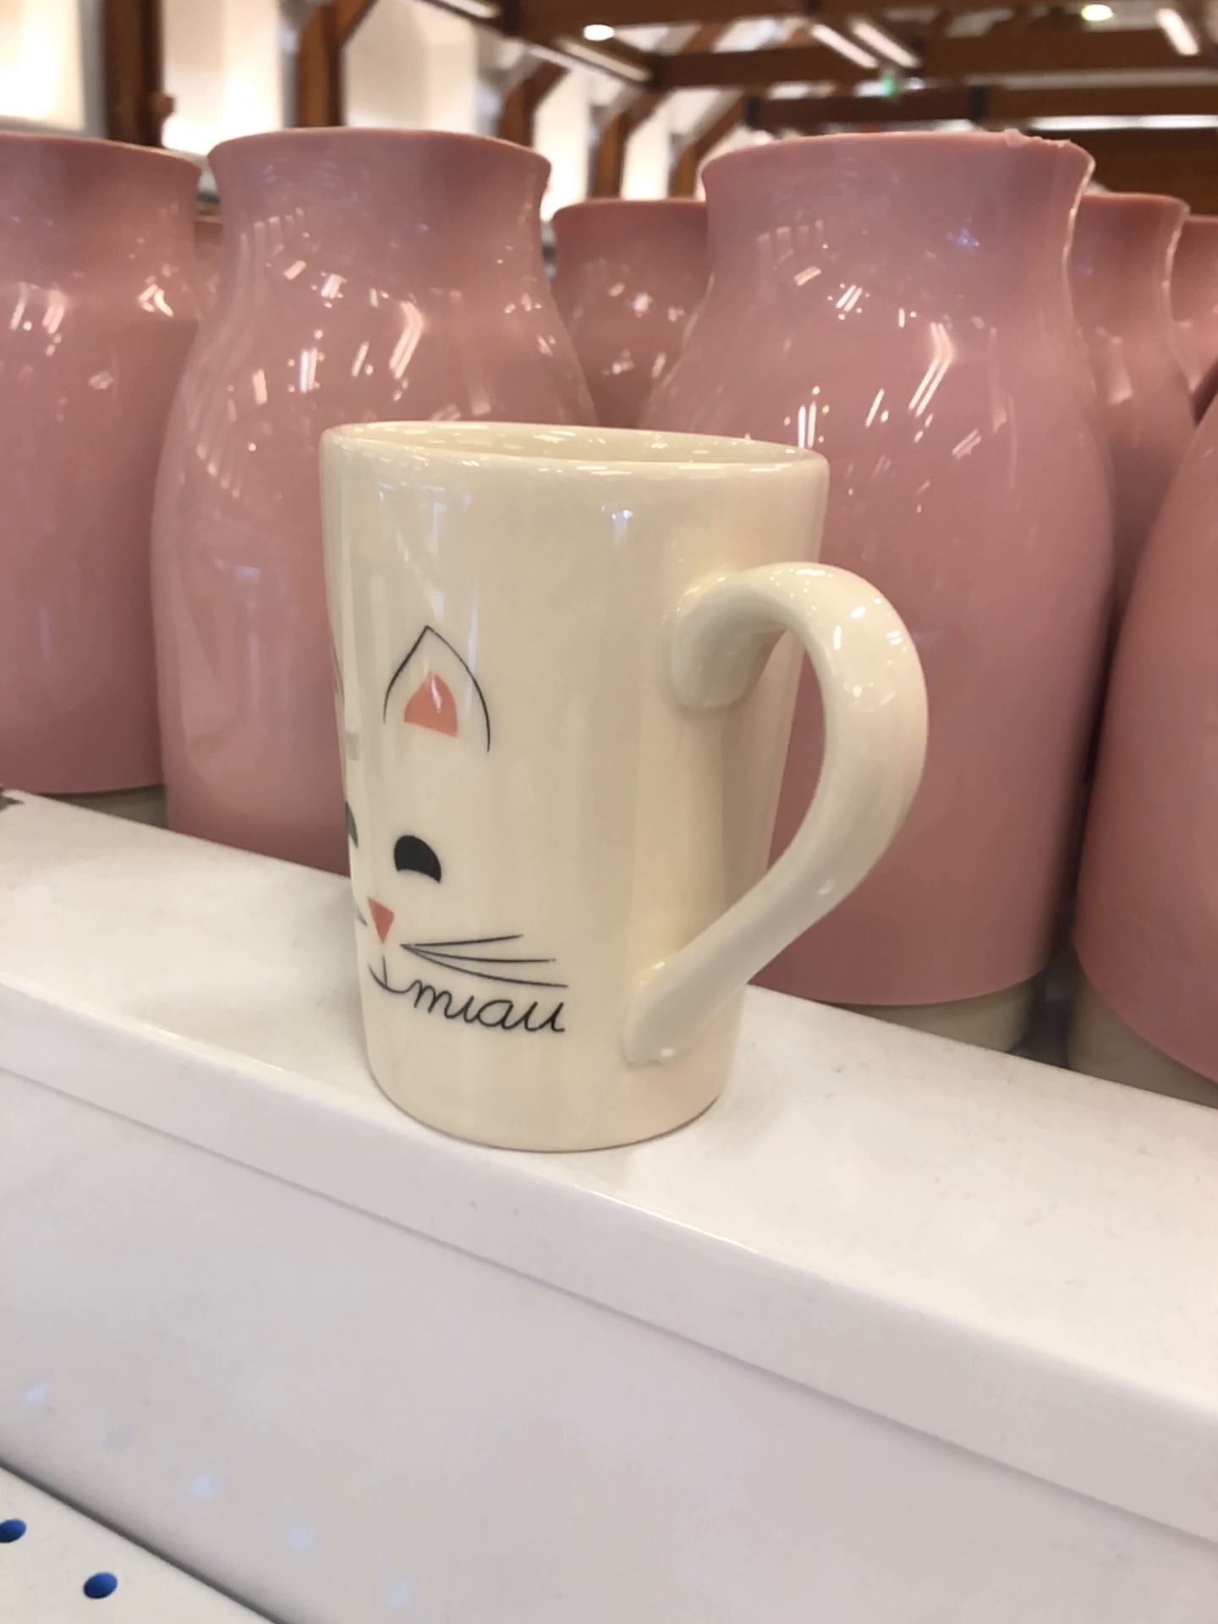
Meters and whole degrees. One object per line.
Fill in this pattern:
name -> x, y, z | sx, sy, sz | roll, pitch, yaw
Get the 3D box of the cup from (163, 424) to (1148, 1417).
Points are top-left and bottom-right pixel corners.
cup -> 0.001, -0.002, 0.202 | 0.080, 0.099, 0.110 | -15, 26, -43
